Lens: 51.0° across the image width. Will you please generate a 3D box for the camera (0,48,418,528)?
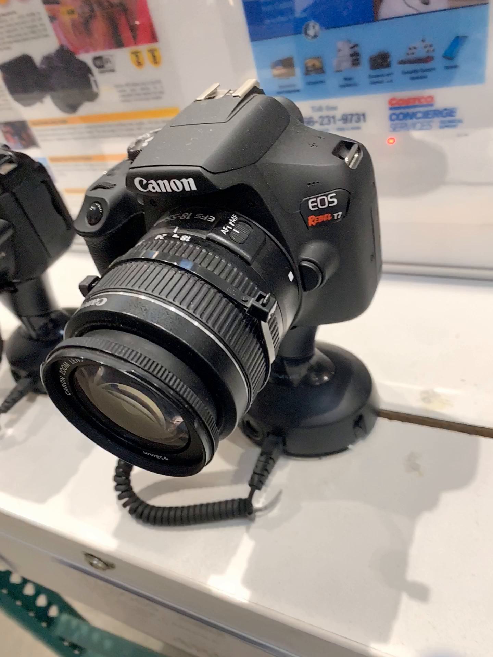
[{"bbox_3d":[-0.015,-0.029,0.197,0.130,0.089,0.141,7,44,25],"label":"camera"}]
